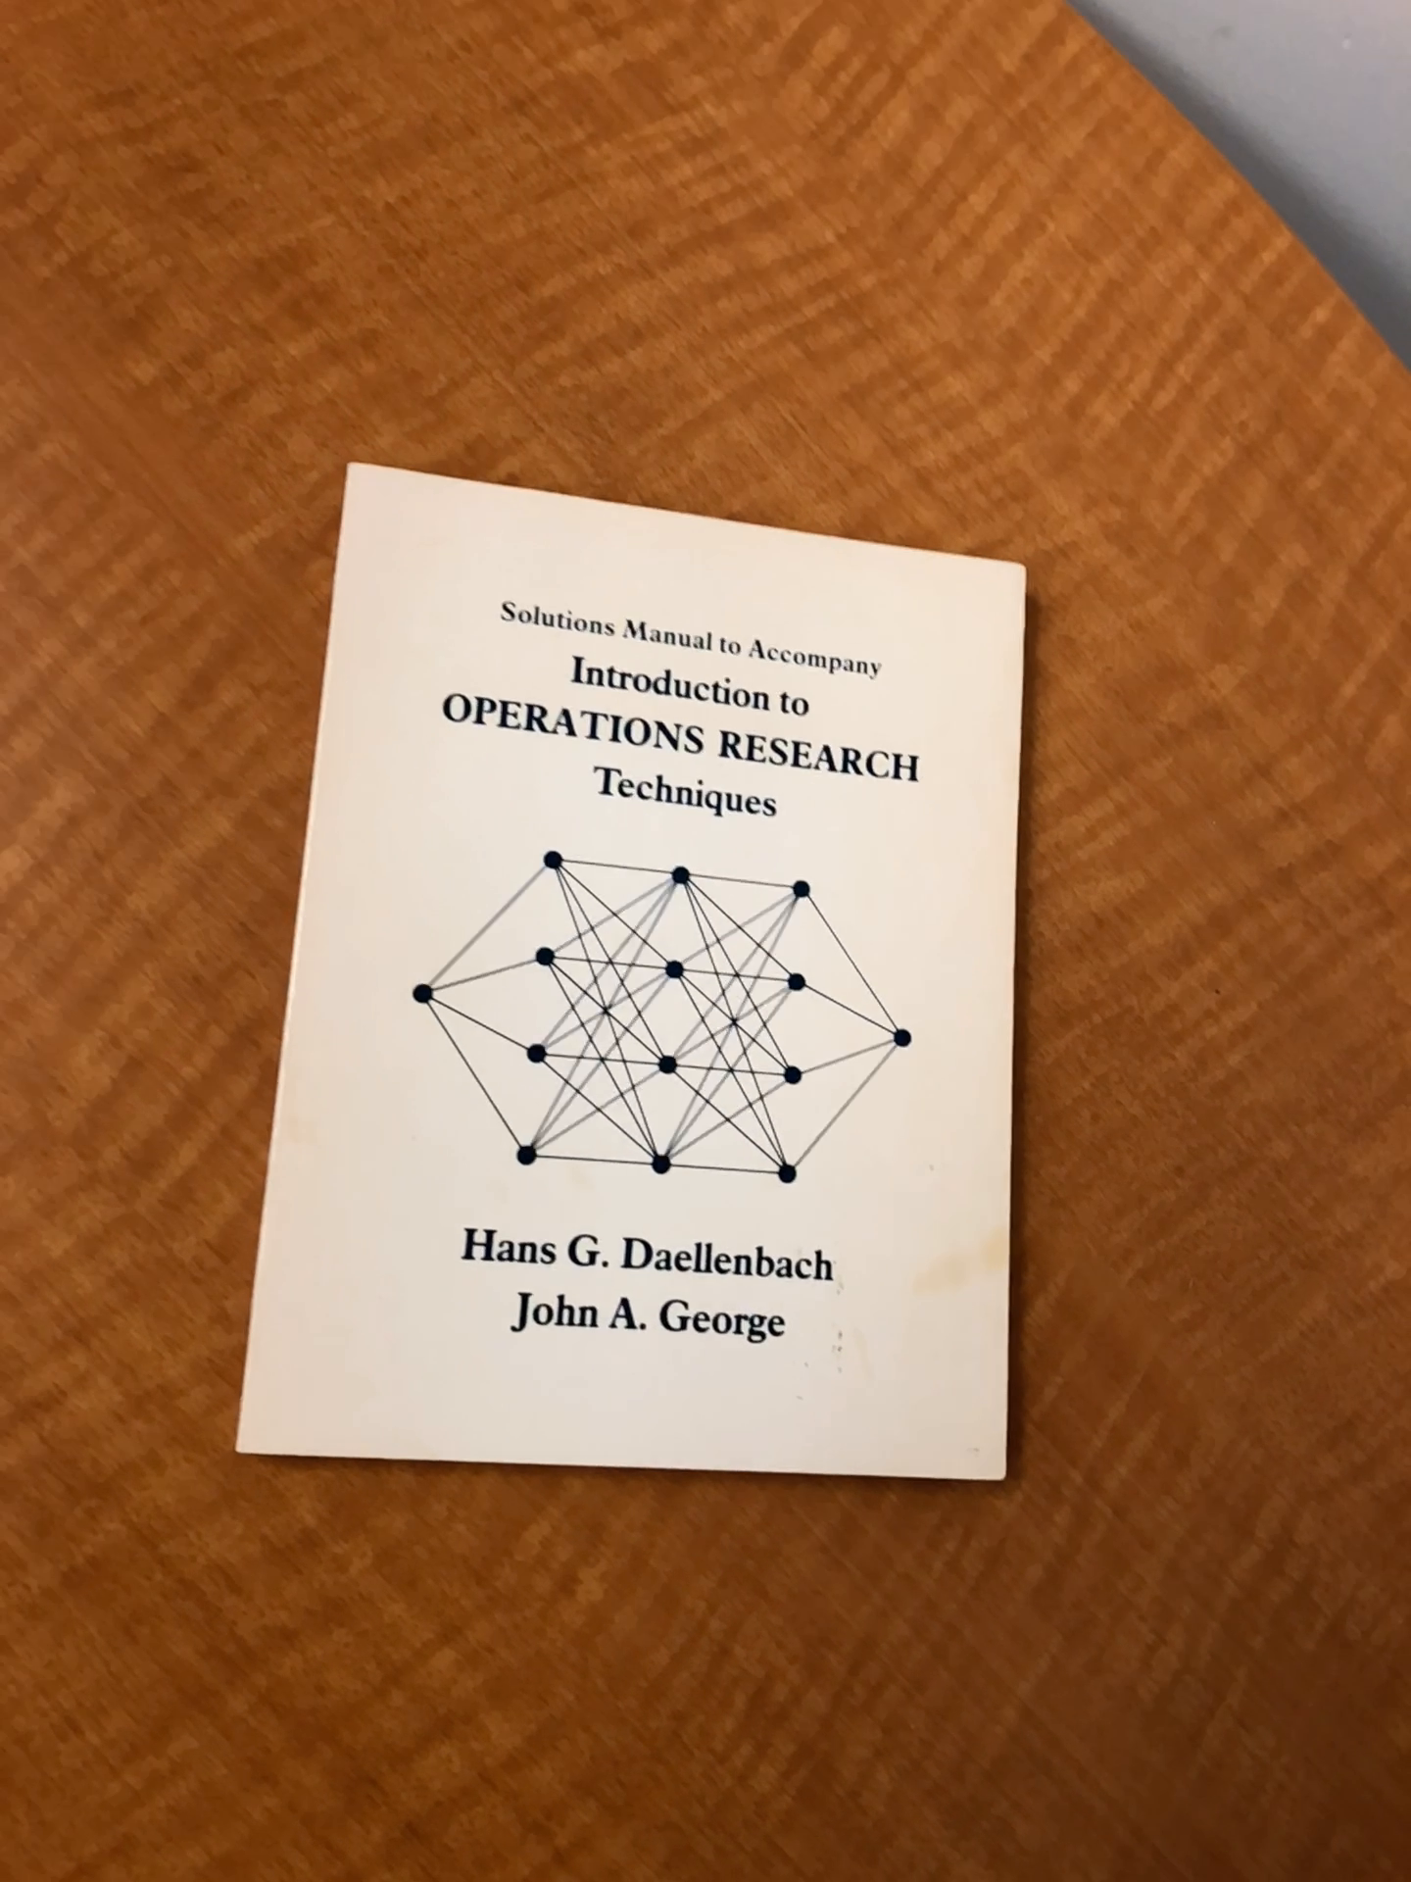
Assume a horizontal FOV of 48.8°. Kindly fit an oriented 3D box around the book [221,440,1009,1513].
[{"bbox_3d":[-0.013,0.008,0.388,0.180,0.020,0.250,5,78,-13],"label":"book"}]
